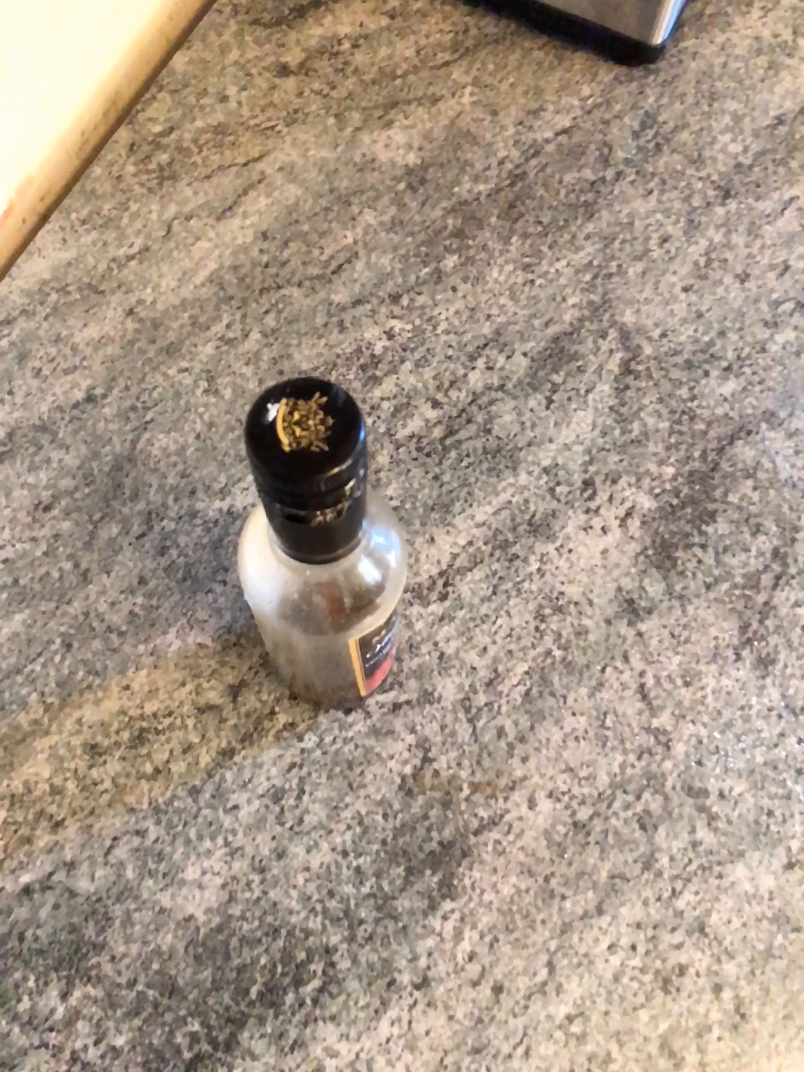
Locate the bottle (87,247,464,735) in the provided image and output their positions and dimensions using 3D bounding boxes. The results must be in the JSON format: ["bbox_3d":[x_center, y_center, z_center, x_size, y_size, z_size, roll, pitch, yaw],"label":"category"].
[{"bbox_3d":[-0.031,0.008,0.324,0.070,0.229,0.070,0,68,-1],"label":"bottle"}]
